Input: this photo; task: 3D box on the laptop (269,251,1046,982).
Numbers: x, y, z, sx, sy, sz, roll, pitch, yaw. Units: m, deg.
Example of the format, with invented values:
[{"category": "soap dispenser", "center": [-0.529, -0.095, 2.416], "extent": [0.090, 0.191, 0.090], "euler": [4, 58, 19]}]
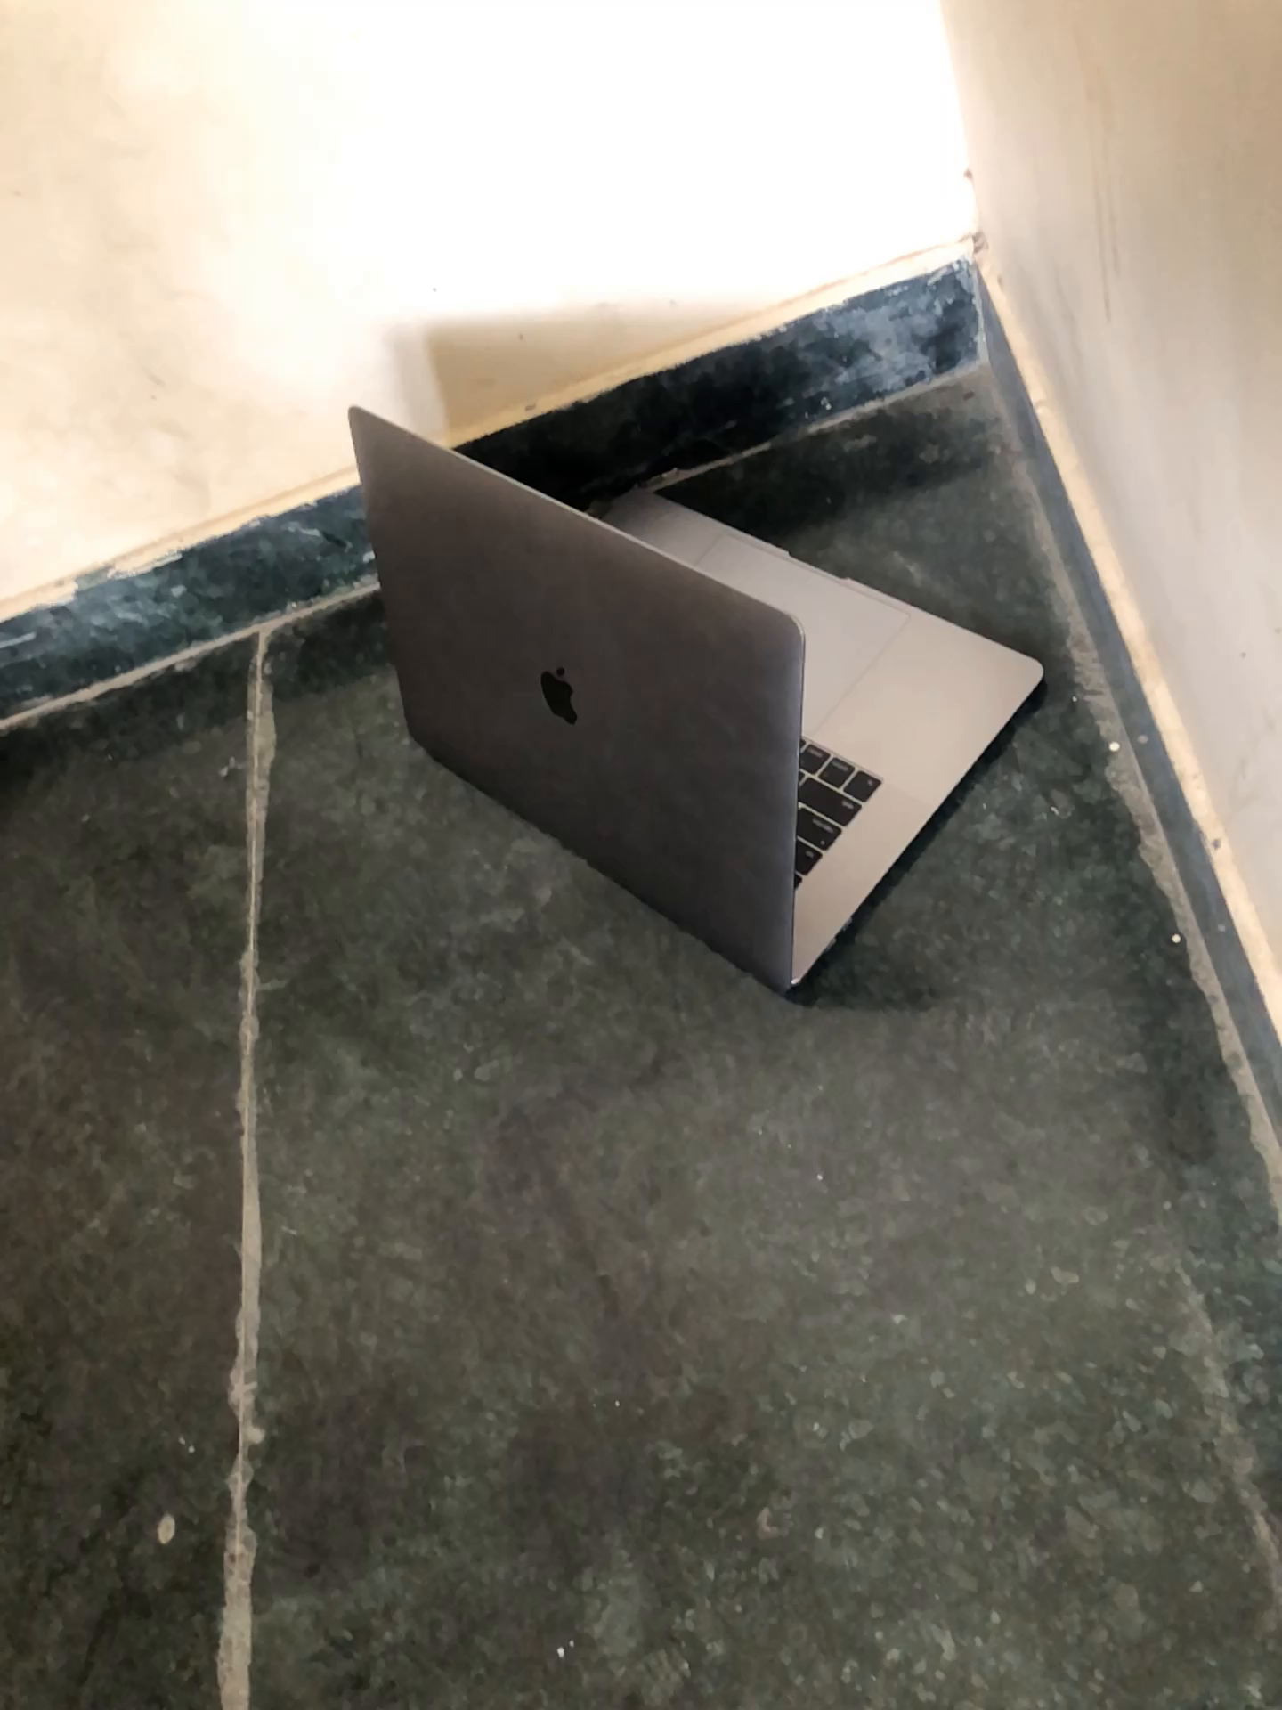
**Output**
[{"category": "laptop", "center": [0.008, -0.140, 0.769], "extent": [0.330, 0.198, 0.221], "euler": [35, 79, 37]}]
